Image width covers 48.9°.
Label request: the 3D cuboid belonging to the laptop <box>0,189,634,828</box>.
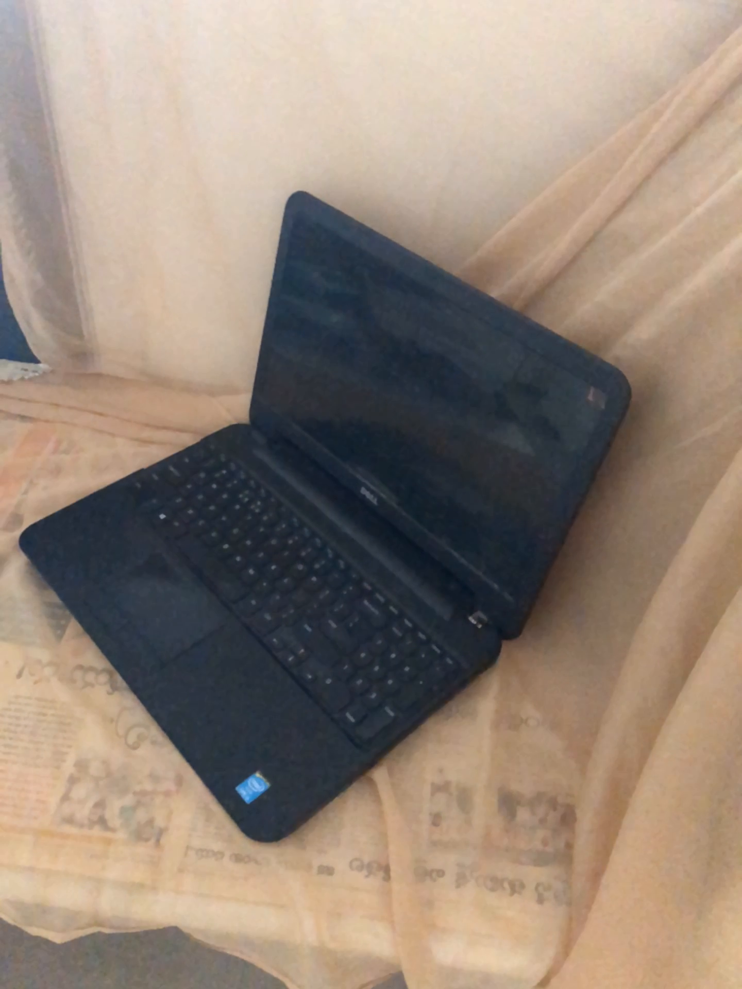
[{"bbox_3d":[-0.062,-0.024,0.634,0.306,0.225,0.349,-30,54,-31],"label":"laptop"}]
